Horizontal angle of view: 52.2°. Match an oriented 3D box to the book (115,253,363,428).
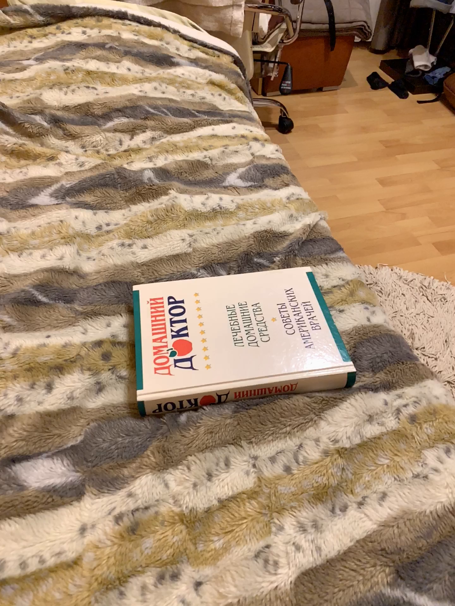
[{"bbox_3d":[0.000,0.029,0.524,0.240,0.040,0.192,-5,47,-9],"label":"book"}]
